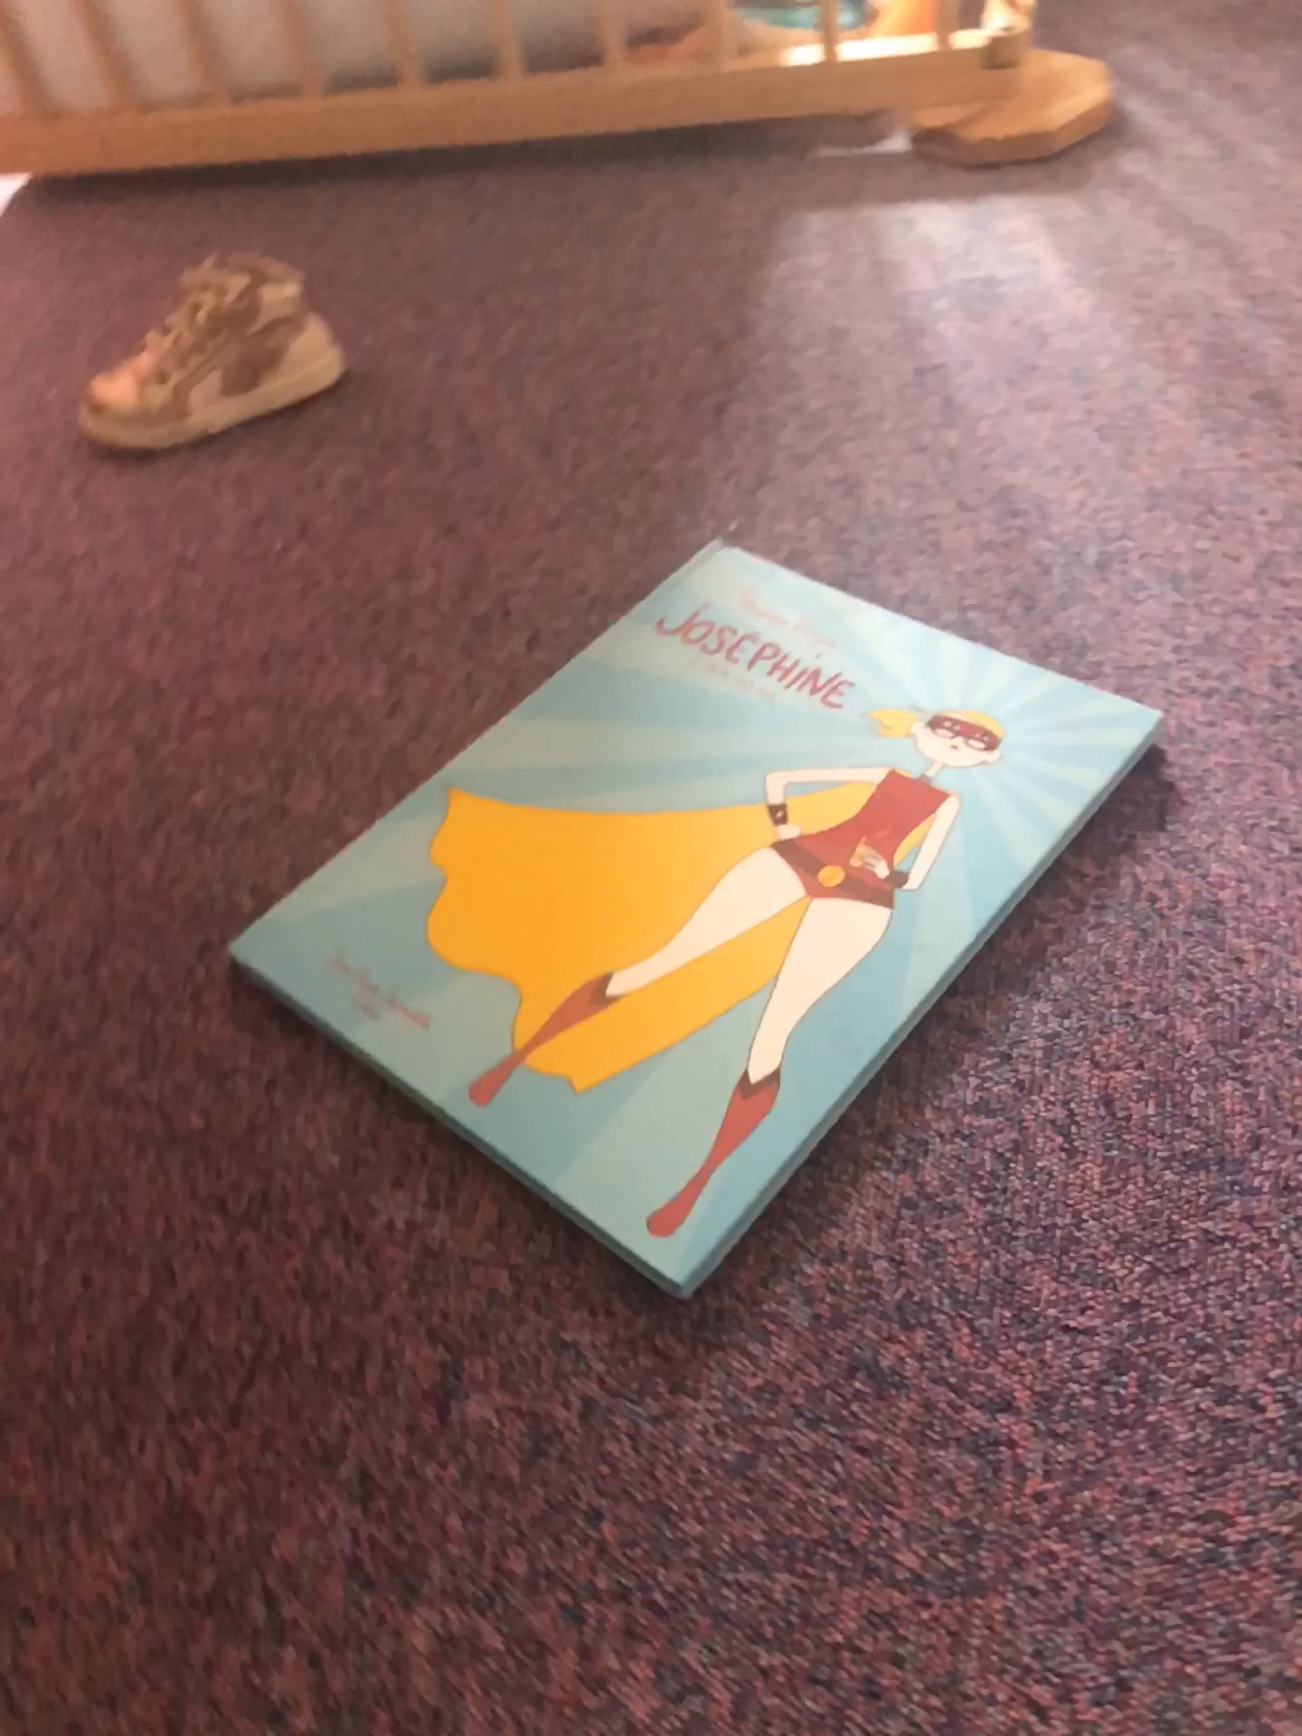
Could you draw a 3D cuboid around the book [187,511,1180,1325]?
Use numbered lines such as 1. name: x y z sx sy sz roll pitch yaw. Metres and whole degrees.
1. book: 0.016 -0.015 0.548 0.234 0.020 0.308 29 59 31
